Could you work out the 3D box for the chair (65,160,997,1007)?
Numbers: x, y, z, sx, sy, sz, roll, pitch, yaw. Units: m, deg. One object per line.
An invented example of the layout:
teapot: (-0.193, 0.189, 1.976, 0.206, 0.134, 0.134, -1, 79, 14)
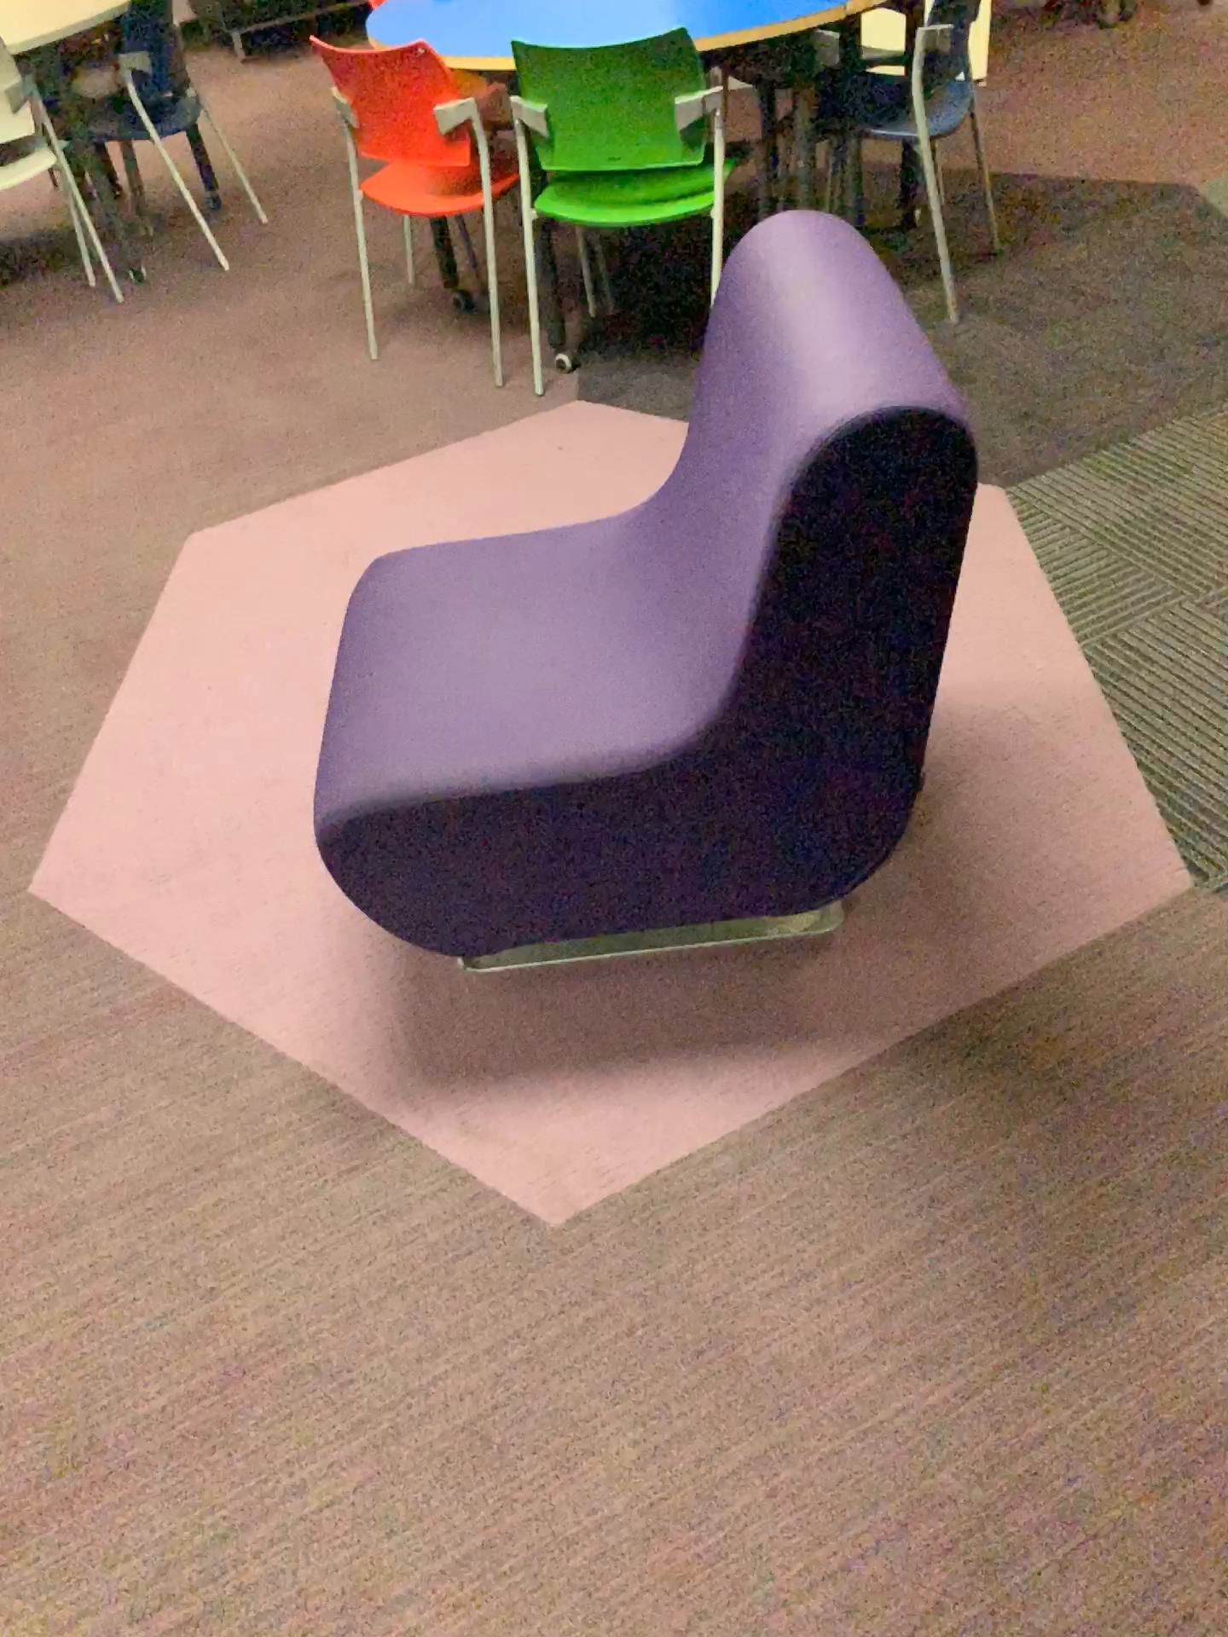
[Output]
chair: (-0.062, -0.323, 1.589, 0.820, 0.614, 0.808, -8, 42, 3)
